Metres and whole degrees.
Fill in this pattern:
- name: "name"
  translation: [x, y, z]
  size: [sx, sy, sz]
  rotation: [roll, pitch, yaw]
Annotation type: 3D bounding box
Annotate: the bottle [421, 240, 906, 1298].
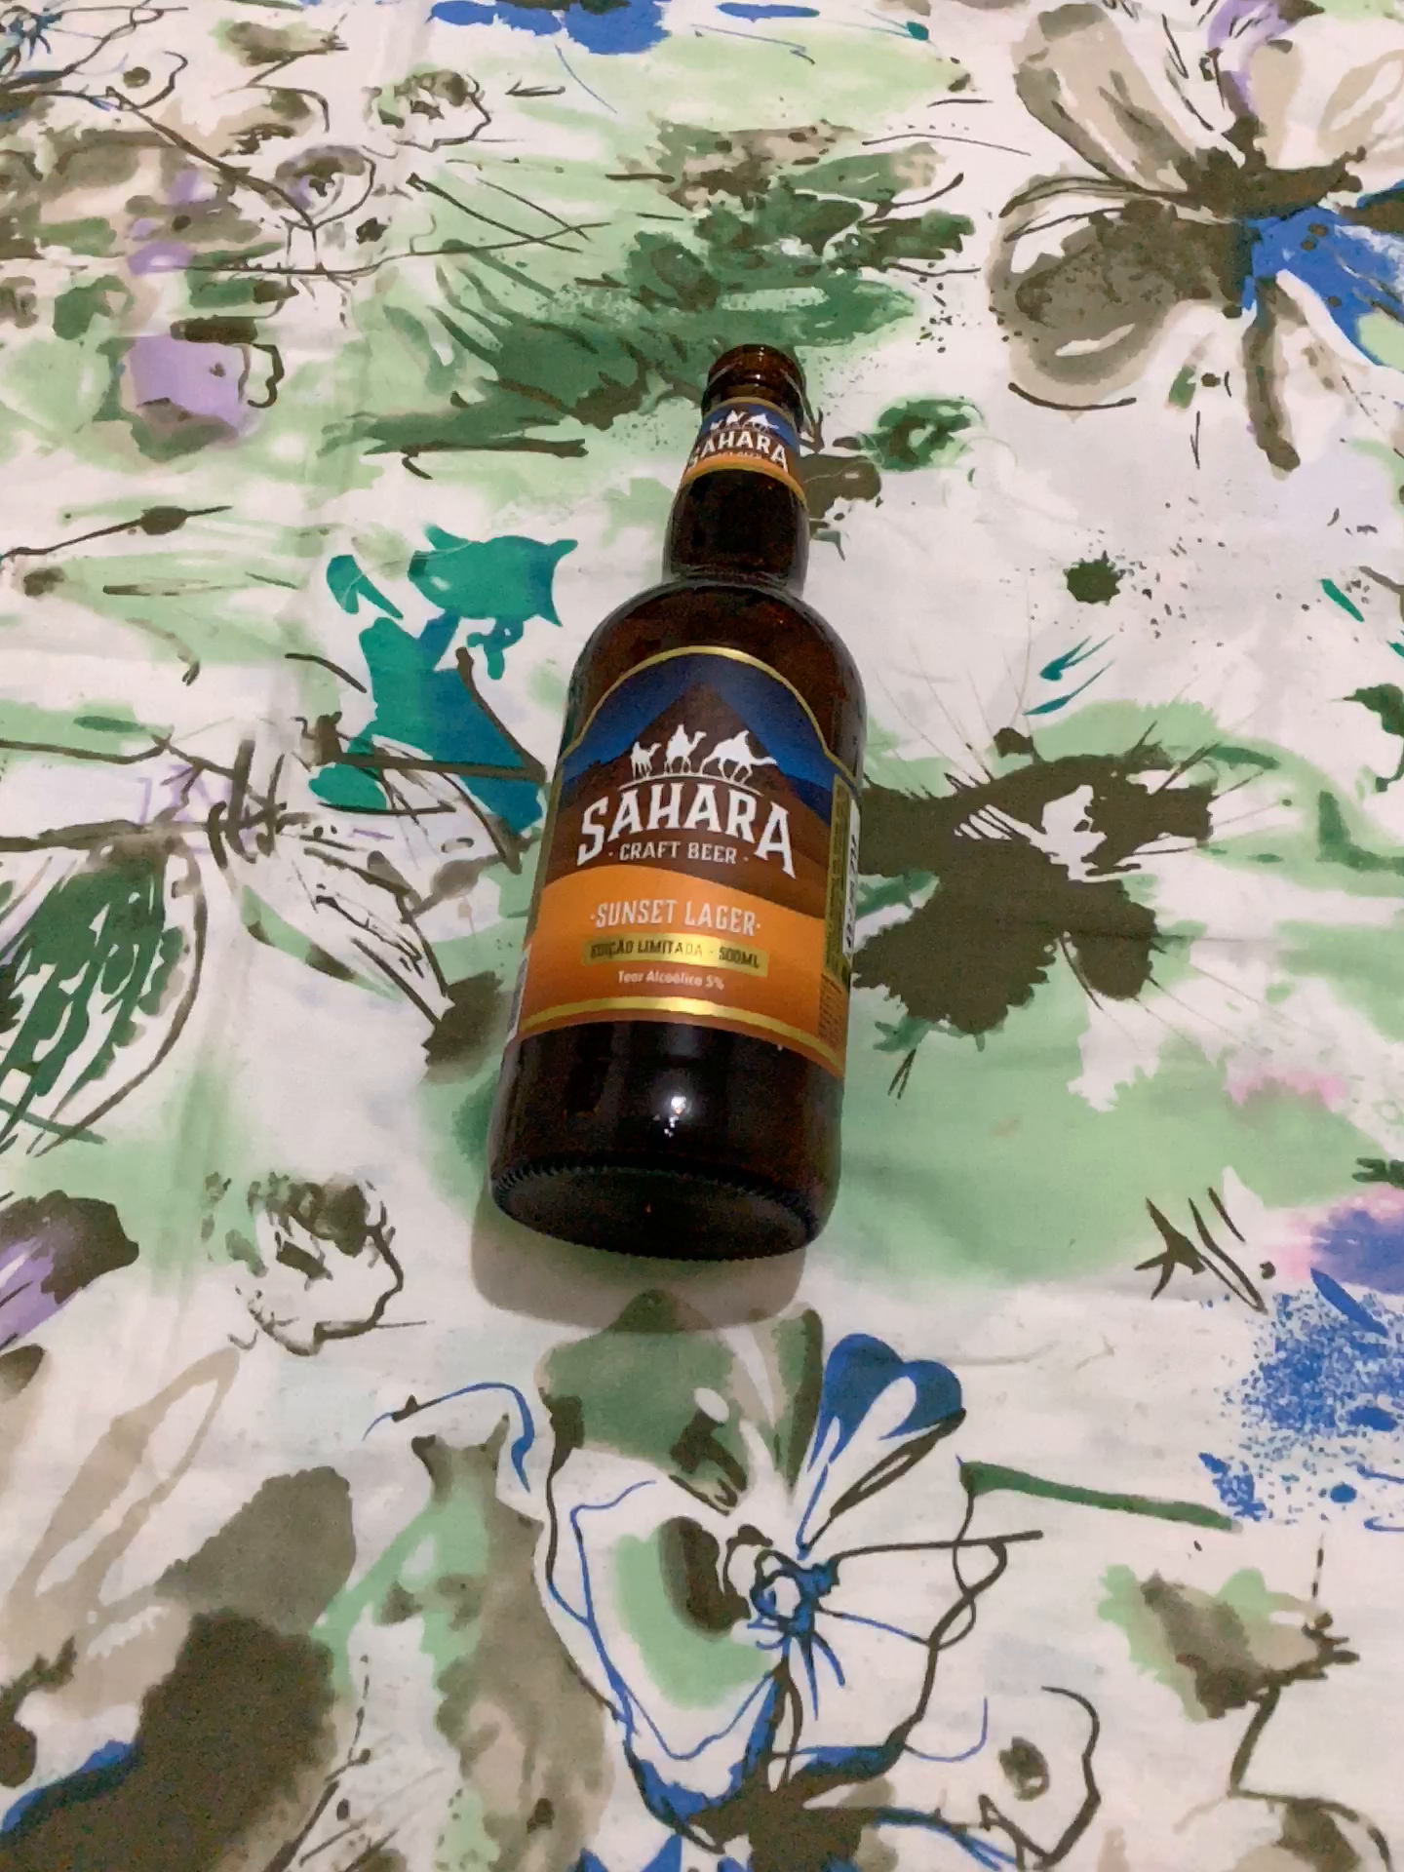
- name: "bottle"
  translation: [0.000, -0.050, 0.349]
  size: [0.080, 0.070, 0.251]
  rotation: [5, 64, 2]
